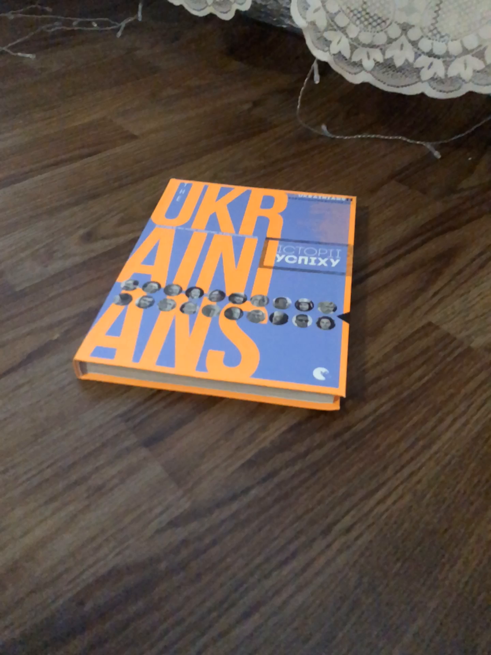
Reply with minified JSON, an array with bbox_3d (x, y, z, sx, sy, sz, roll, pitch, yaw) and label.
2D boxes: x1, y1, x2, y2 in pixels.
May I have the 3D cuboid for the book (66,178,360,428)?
[{"bbox_3d":[-0.004,-0.035,0.385,0.164,0.020,0.217,8,45,6],"label":"book"}]
